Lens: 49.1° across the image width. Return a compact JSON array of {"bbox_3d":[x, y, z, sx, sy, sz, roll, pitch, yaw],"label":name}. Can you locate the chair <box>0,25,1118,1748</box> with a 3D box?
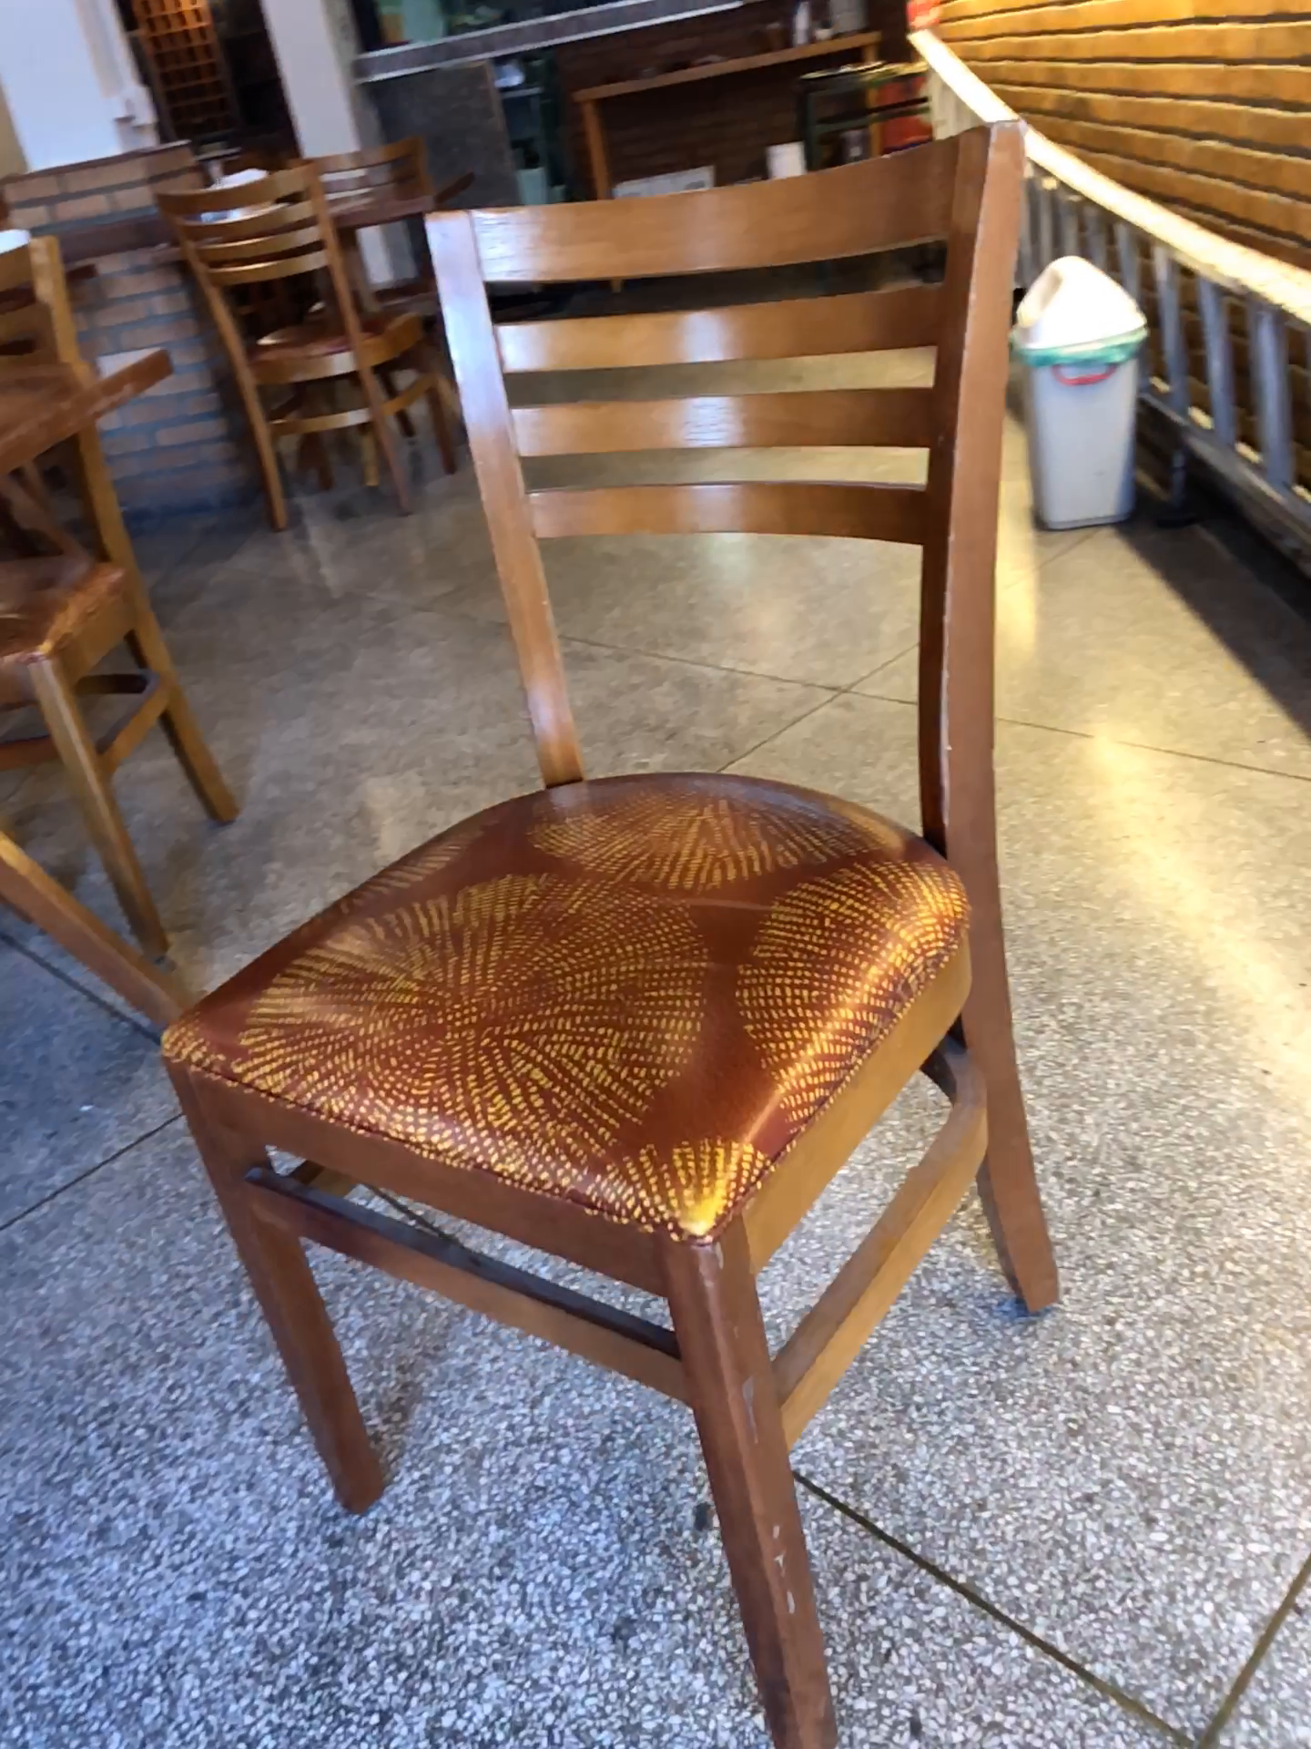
[{"bbox_3d":[-0.021,0.011,0.901,0.451,0.844,0.472,9,34,34],"label":"chair"}]
